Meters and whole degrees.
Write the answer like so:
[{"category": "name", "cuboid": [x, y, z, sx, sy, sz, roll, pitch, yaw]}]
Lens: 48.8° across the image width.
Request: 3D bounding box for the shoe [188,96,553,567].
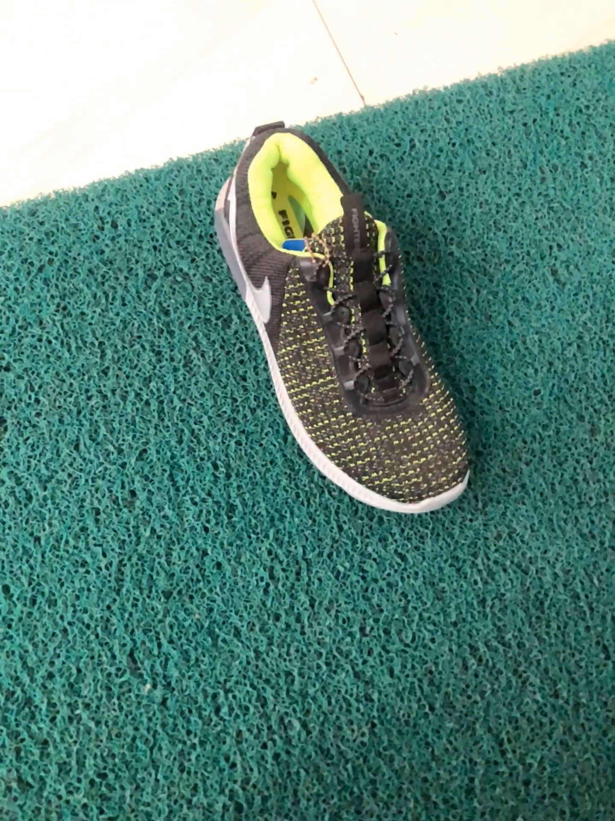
[{"category": "shoe", "cuboid": [0.027, -0.052, 0.439, 0.110, 0.090, 0.270, -21, 75, -13]}]
